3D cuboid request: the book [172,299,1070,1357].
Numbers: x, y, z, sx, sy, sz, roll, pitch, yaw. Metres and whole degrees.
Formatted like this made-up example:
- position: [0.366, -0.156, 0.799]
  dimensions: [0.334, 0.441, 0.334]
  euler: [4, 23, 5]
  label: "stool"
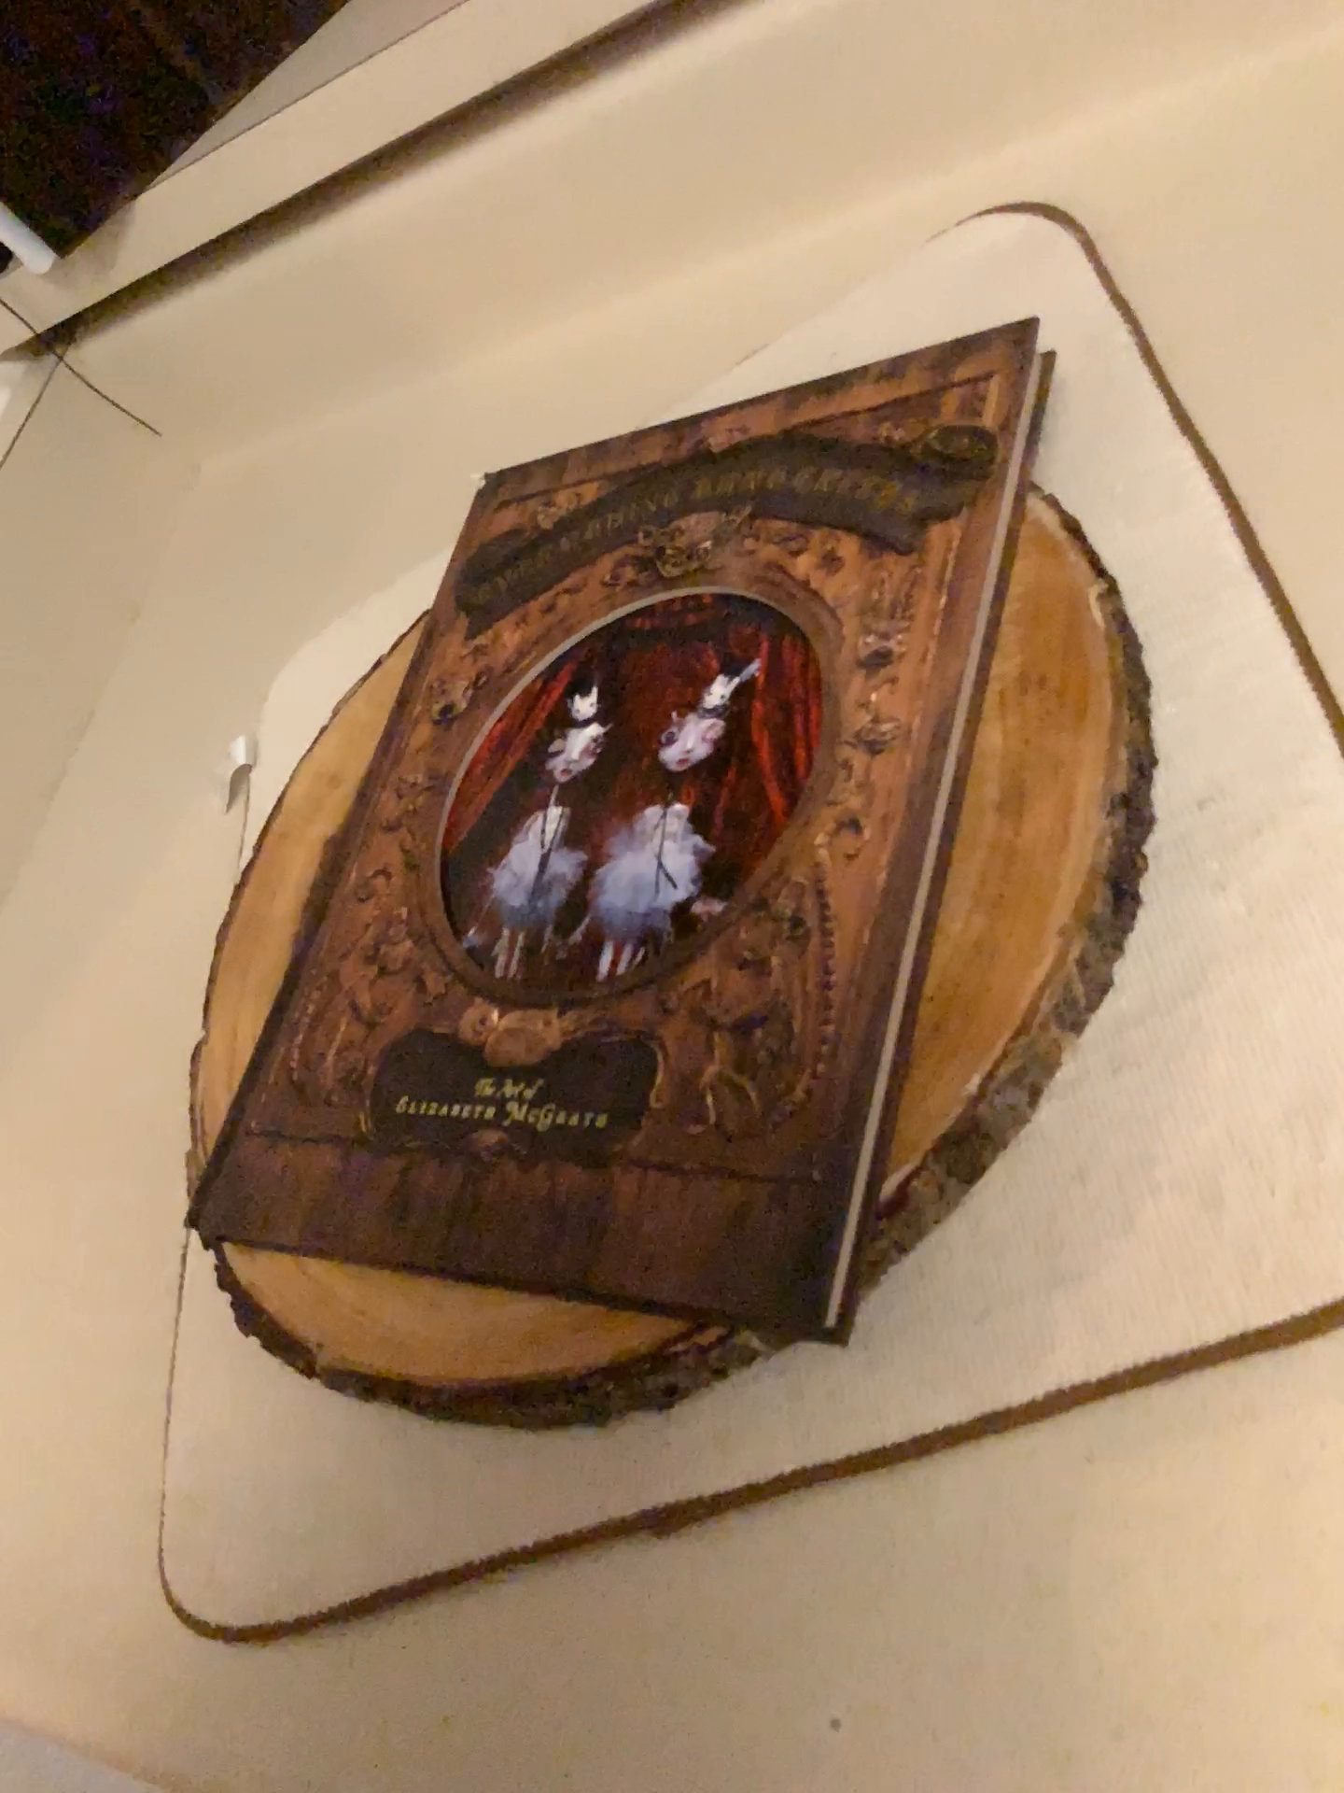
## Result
- position: [-0.015, -0.033, 0.456]
  dimensions: [0.230, 0.020, 0.310]
  euler: [-3, 59, 37]
  label: "book"
